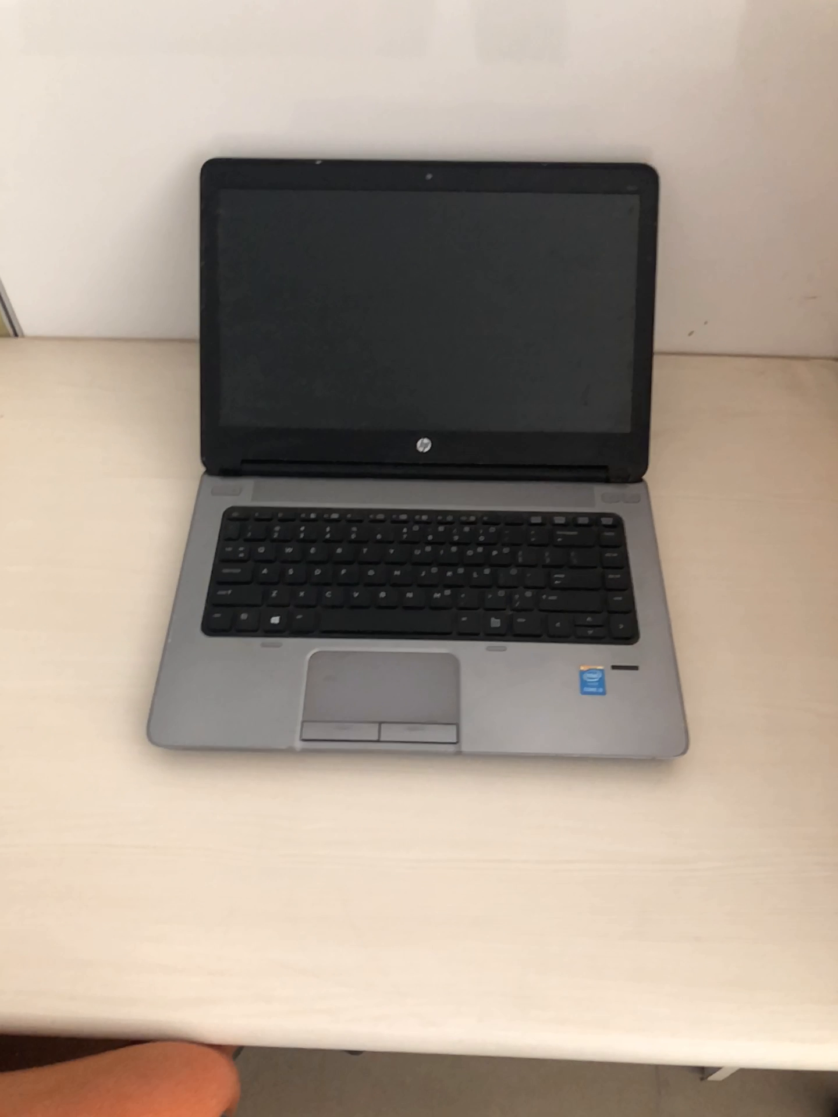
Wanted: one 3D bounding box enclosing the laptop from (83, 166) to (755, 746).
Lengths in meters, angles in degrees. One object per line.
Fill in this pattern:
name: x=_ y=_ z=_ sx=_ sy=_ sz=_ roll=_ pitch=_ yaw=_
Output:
laptop: x=0.004 y=-0.087 z=0.614 sx=0.322 sy=0.148 sz=0.379 roll=1 pitch=53 yaw=1
